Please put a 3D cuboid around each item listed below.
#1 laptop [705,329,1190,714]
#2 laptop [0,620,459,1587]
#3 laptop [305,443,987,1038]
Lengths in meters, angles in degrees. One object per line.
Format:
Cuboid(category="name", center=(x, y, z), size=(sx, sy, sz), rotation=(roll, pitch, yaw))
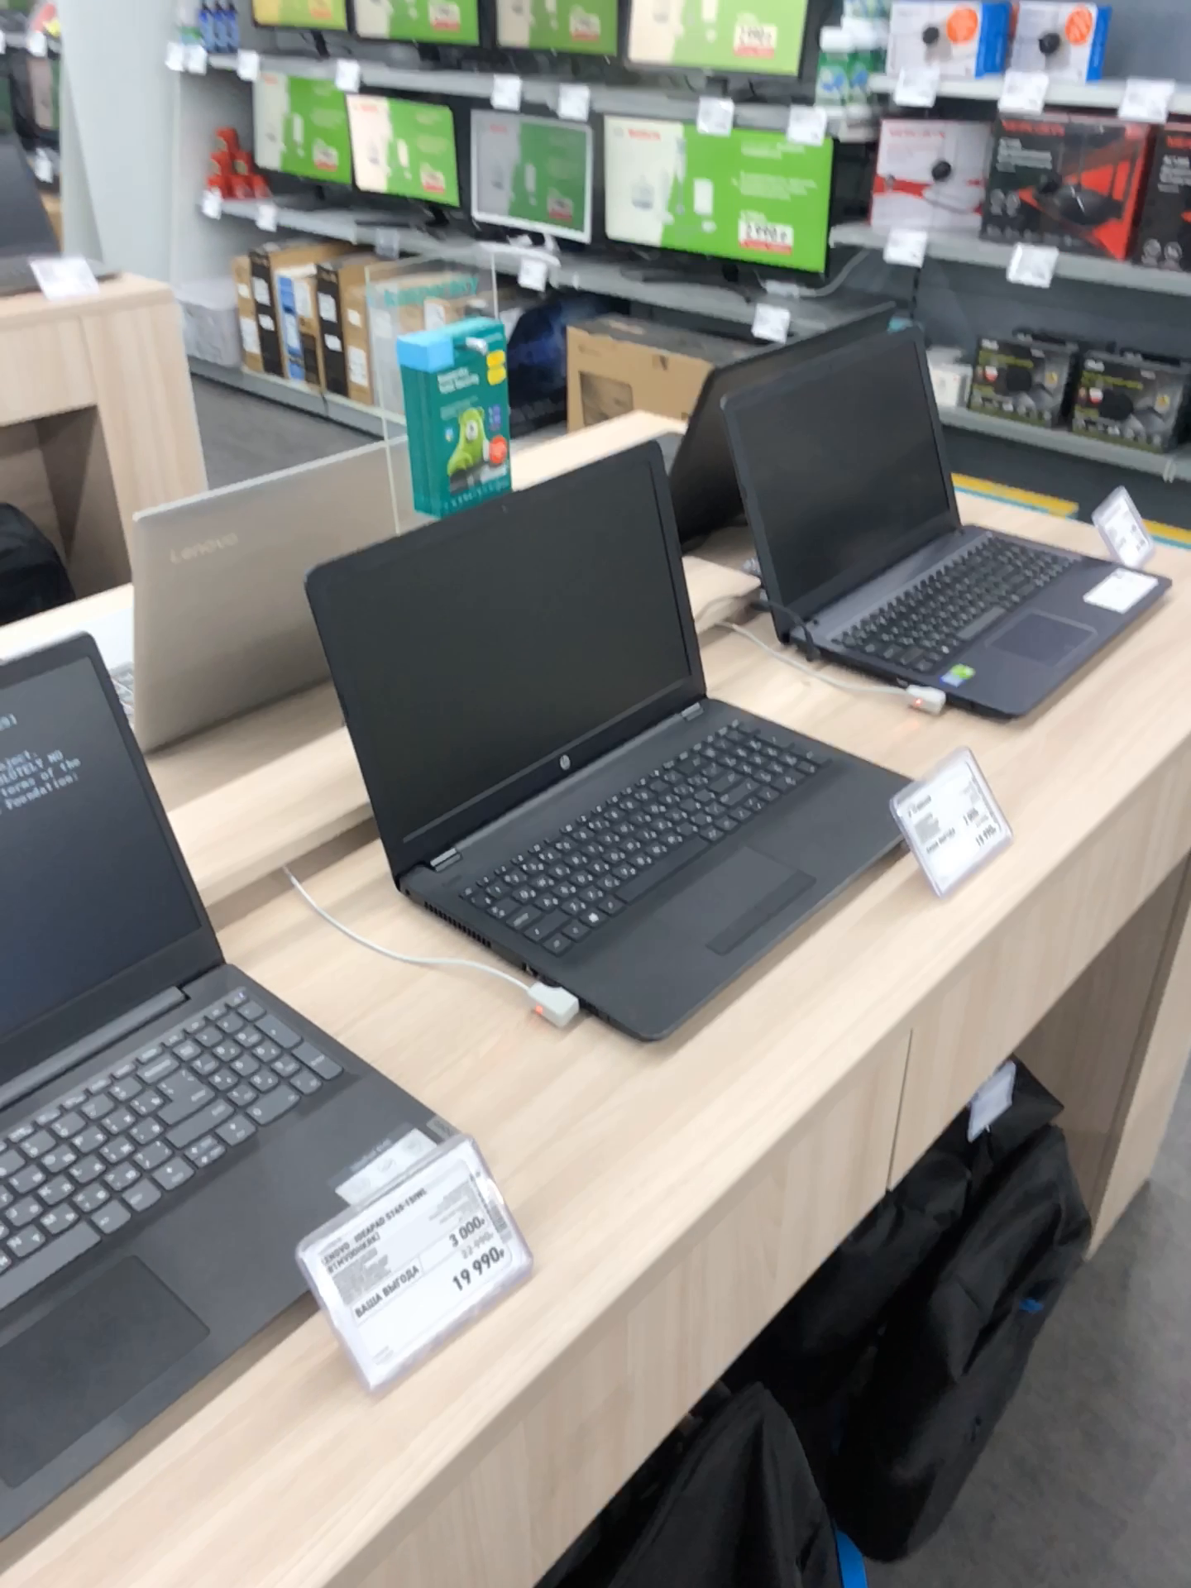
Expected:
Cuboid(category="laptop", center=(0.363, -0.294, 1.306), size=(0.334, 0.209, 0.370), rotation=(25, 39, 31))
Cuboid(category="laptop", center=(-0.301, 0.114, 0.660), size=(0.328, 0.213, 0.332), rotation=(26, 40, 33))
Cuboid(category="laptop", center=(0.043, -0.073, 0.958), size=(0.312, 0.216, 0.368), rotation=(25, 40, 33))
